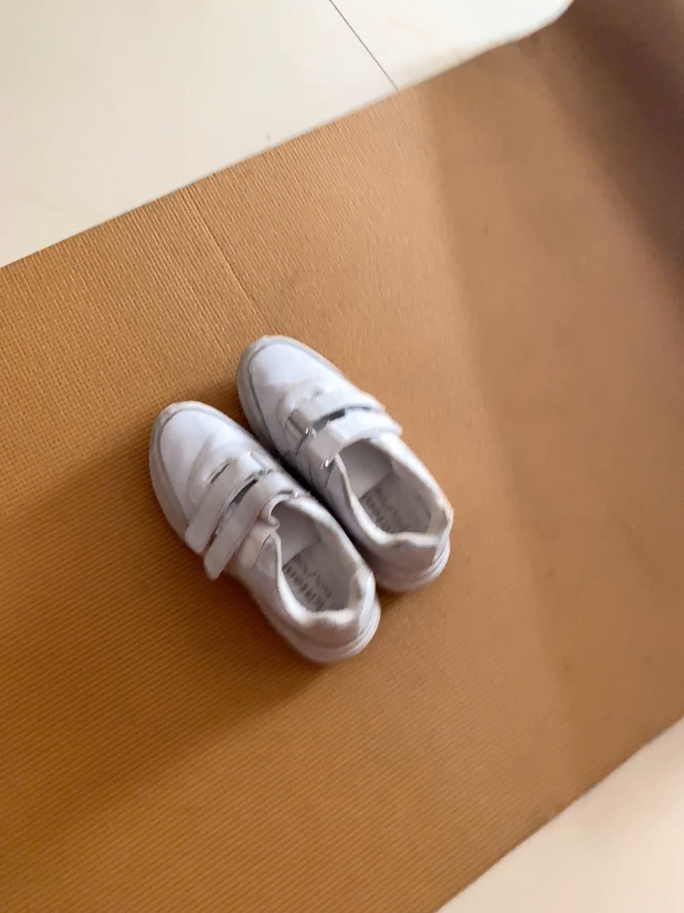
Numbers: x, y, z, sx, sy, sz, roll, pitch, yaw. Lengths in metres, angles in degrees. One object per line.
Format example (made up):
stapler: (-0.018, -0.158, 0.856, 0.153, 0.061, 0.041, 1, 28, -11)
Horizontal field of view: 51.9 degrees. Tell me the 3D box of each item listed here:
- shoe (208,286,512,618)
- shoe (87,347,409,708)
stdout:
shoe: (0.007, 0.002, 0.556, 0.090, 0.100, 0.240, -37, 84, -14)
shoe: (-0.071, 0.051, 0.524, 0.090, 0.070, 0.250, -37, 84, -14)
